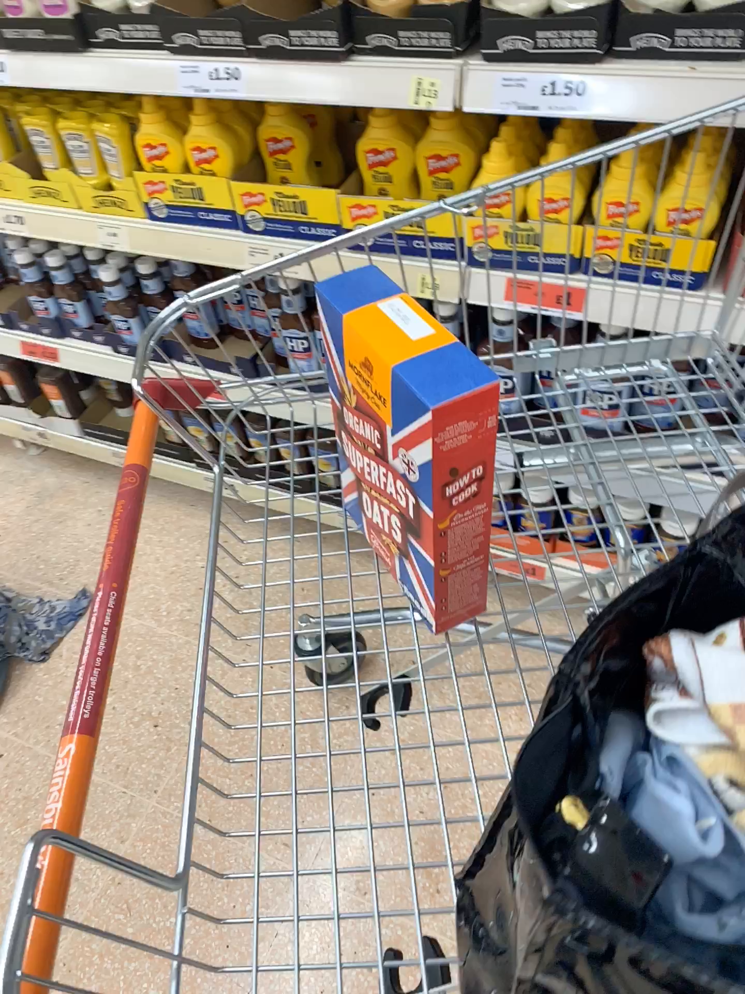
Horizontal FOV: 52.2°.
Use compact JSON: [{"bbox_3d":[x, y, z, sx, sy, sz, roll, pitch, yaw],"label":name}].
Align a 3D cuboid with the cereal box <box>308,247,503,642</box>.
[{"bbox_3d":[0.024,-0.035,0.606,0.050,0.258,0.181,-22,47,-16],"label":"cereal box"}]
